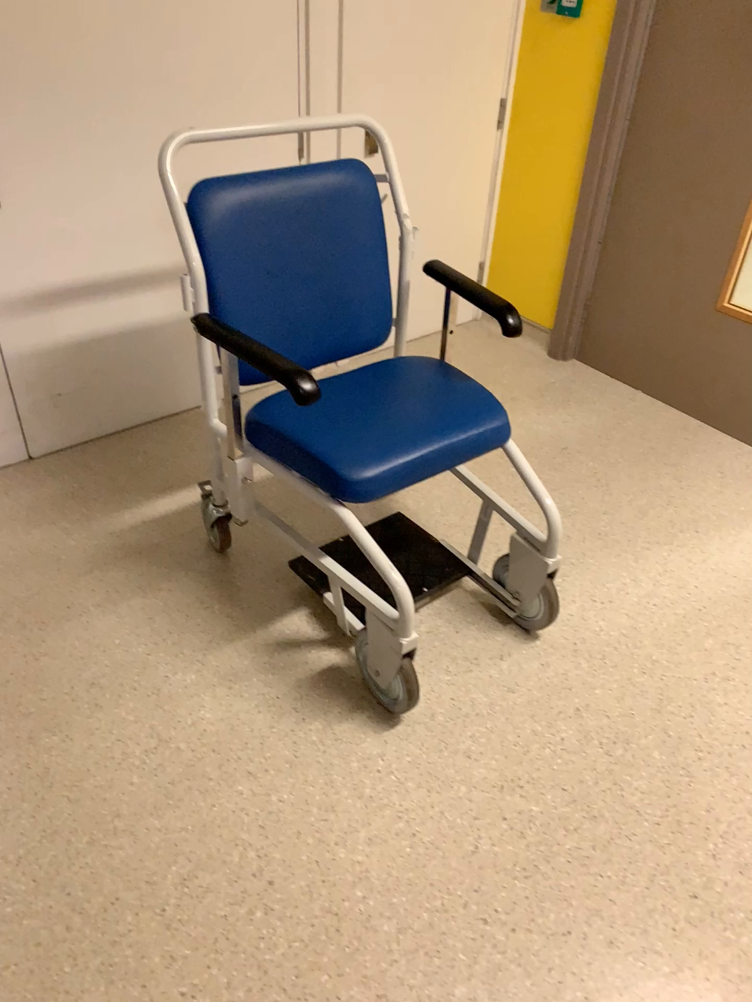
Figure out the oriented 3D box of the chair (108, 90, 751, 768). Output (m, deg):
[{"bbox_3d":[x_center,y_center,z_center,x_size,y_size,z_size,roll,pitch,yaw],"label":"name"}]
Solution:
[{"bbox_3d":[0.052,-0.243,1.747,0.823,1.029,0.946,-23,45,-29],"label":"chair"}]
